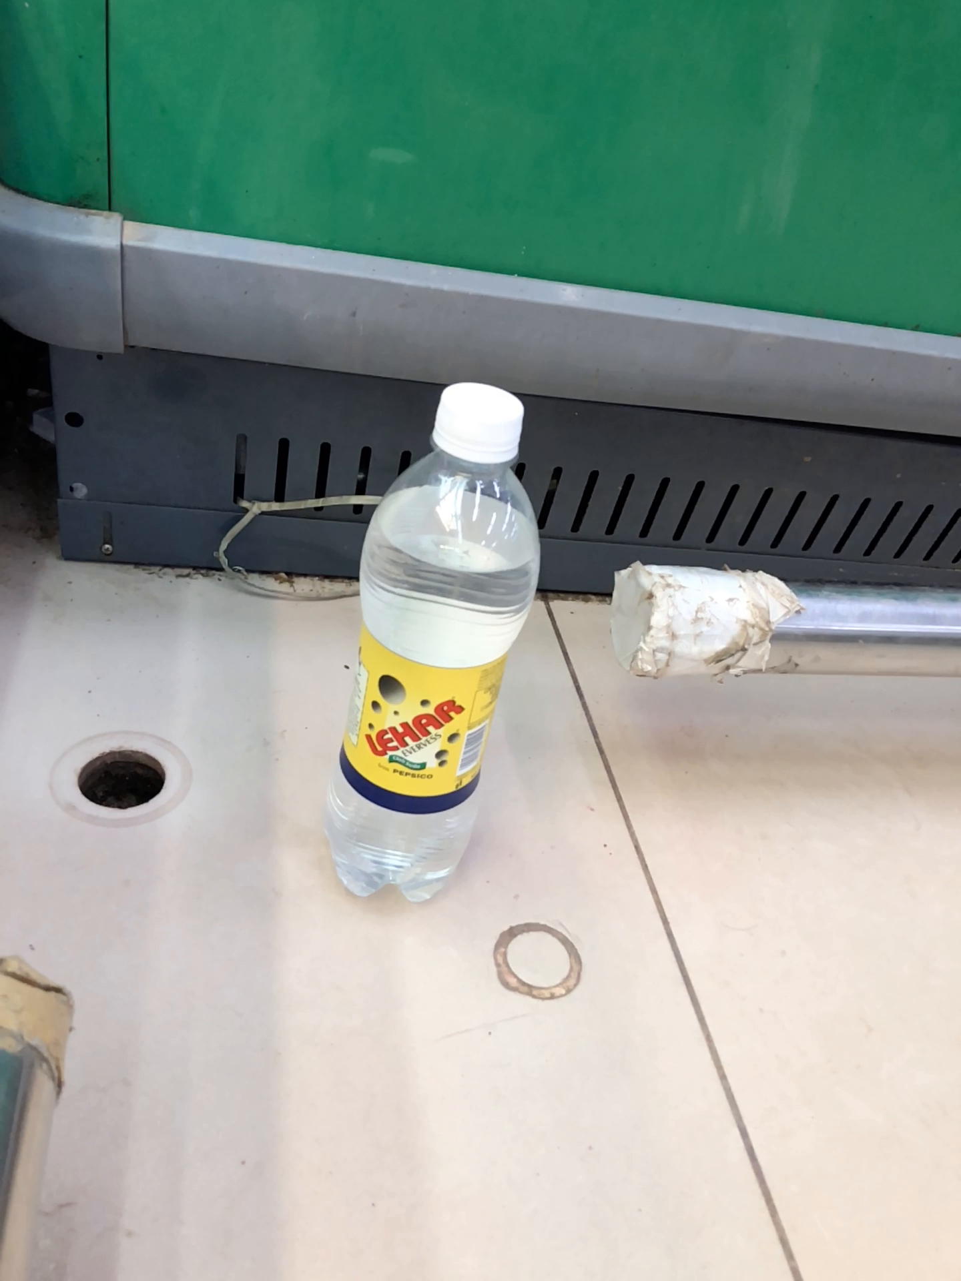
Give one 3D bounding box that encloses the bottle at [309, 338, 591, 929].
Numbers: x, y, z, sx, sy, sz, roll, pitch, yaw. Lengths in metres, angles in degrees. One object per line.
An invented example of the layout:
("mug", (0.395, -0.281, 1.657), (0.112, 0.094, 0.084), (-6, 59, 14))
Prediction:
("bottle", (-0.018, 0.007, 0.425), (0.070, 0.228, 0.070), (8, 34, -6))
